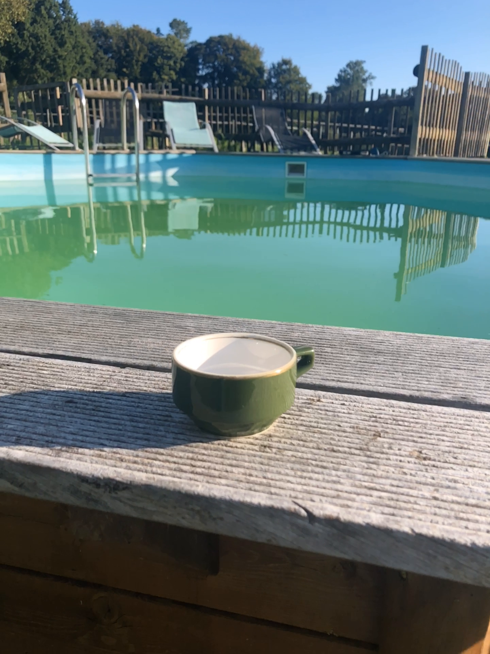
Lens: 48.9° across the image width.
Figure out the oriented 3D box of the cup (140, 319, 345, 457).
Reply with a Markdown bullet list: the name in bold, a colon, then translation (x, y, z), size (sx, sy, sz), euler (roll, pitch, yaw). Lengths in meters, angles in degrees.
- **cup**: translation (-0.003, 0.031, 0.336), size (0.095, 0.038, 0.083), euler (-12, 21, -33)
